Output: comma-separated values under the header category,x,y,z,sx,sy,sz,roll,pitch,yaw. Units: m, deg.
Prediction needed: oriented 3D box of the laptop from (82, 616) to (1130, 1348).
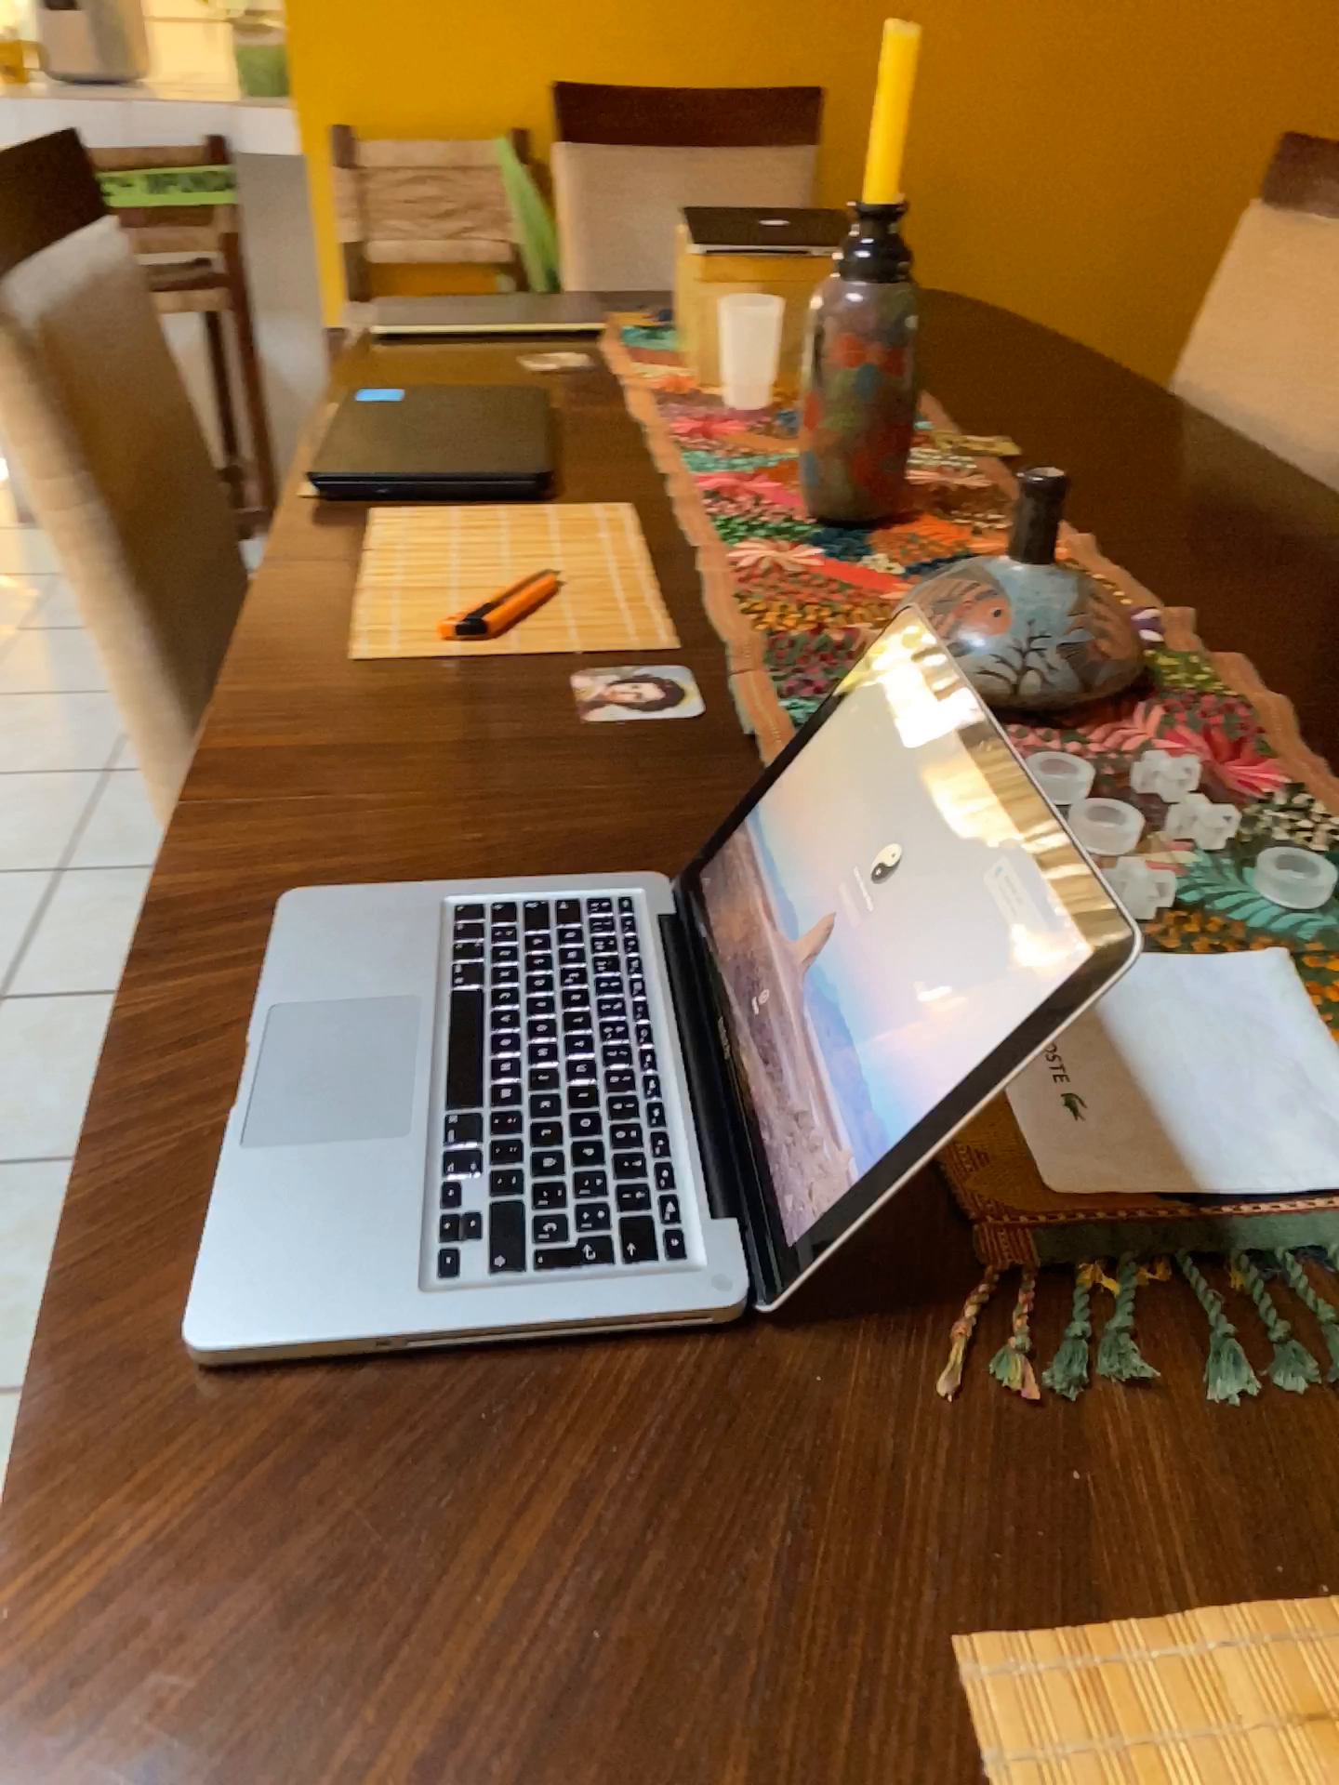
category,x,y,z,sx,sy,sz,roll,pitch,yaw
laptop,-0.035,0.014,0.648,0.357,0.170,0.326,-2,33,-5
